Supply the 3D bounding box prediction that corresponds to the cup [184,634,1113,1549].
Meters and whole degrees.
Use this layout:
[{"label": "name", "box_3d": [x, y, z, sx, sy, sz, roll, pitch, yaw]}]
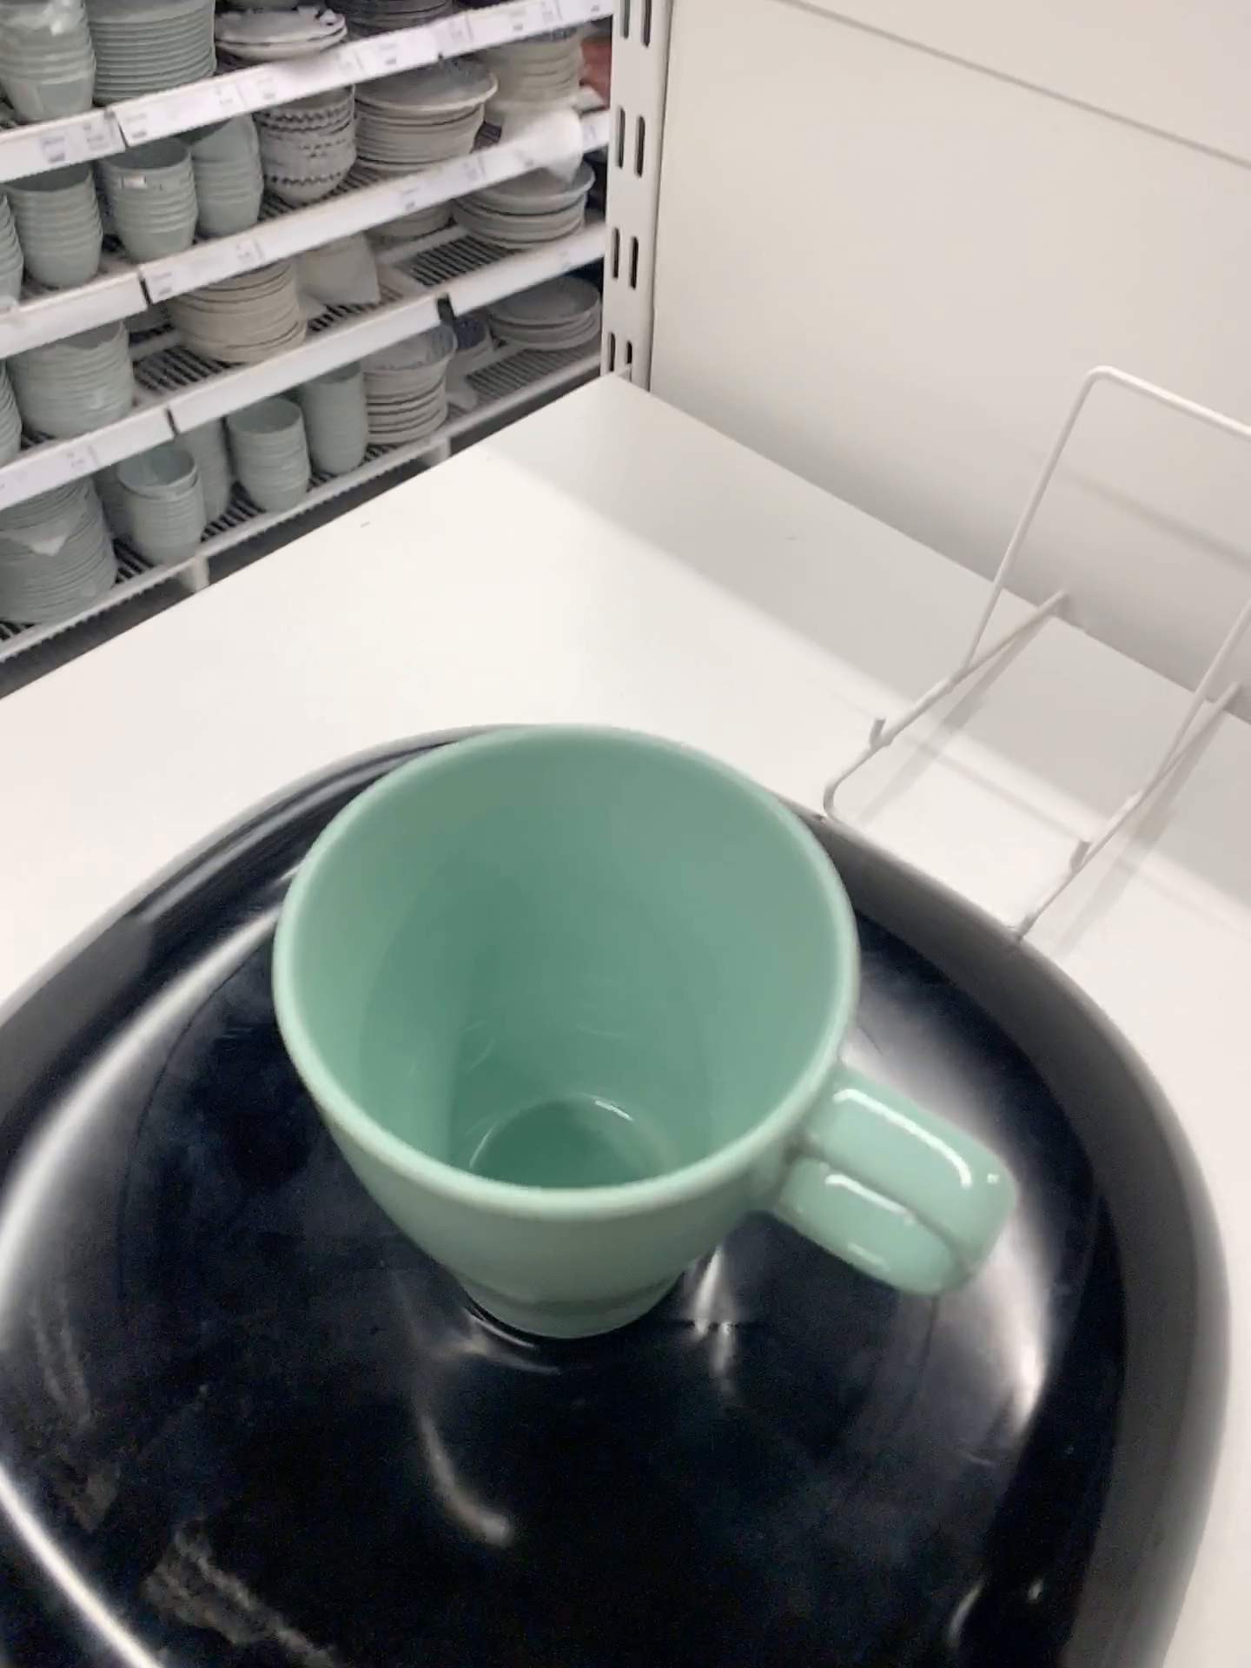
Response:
[{"label": "cup", "box_3d": [0.005, 0.044, 0.219, 0.110, 0.100, 0.080, 20, 50, 12]}]
